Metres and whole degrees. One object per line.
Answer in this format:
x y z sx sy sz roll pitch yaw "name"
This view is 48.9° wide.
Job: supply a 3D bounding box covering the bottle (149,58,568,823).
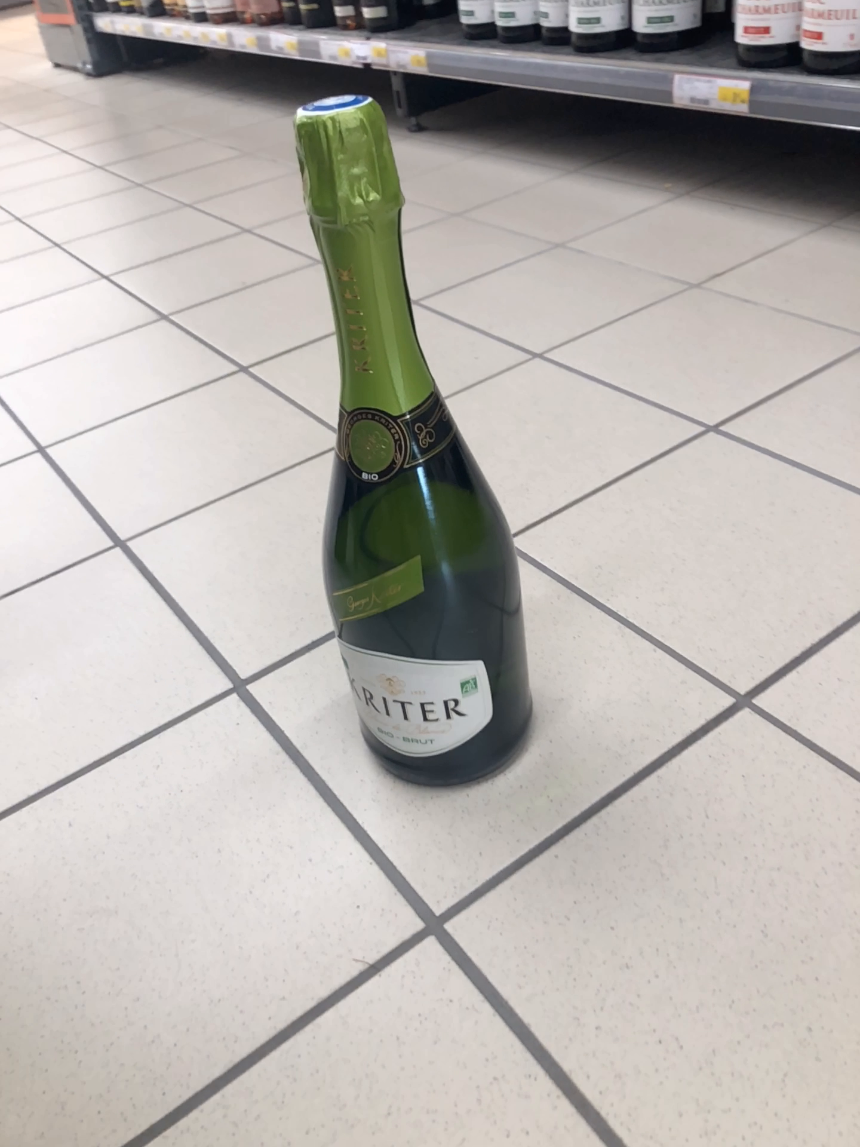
-0.008 -0.039 0.411 0.100 0.308 0.091 8 39 22 "bottle"
